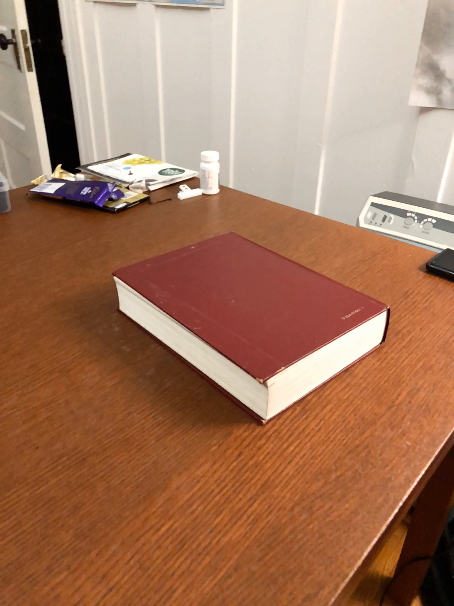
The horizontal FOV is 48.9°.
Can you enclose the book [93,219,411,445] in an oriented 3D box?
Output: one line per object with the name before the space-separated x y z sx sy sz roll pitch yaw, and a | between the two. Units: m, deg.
book | 0.019 0.002 0.581 0.221 0.070 0.291 -23 38 -35
